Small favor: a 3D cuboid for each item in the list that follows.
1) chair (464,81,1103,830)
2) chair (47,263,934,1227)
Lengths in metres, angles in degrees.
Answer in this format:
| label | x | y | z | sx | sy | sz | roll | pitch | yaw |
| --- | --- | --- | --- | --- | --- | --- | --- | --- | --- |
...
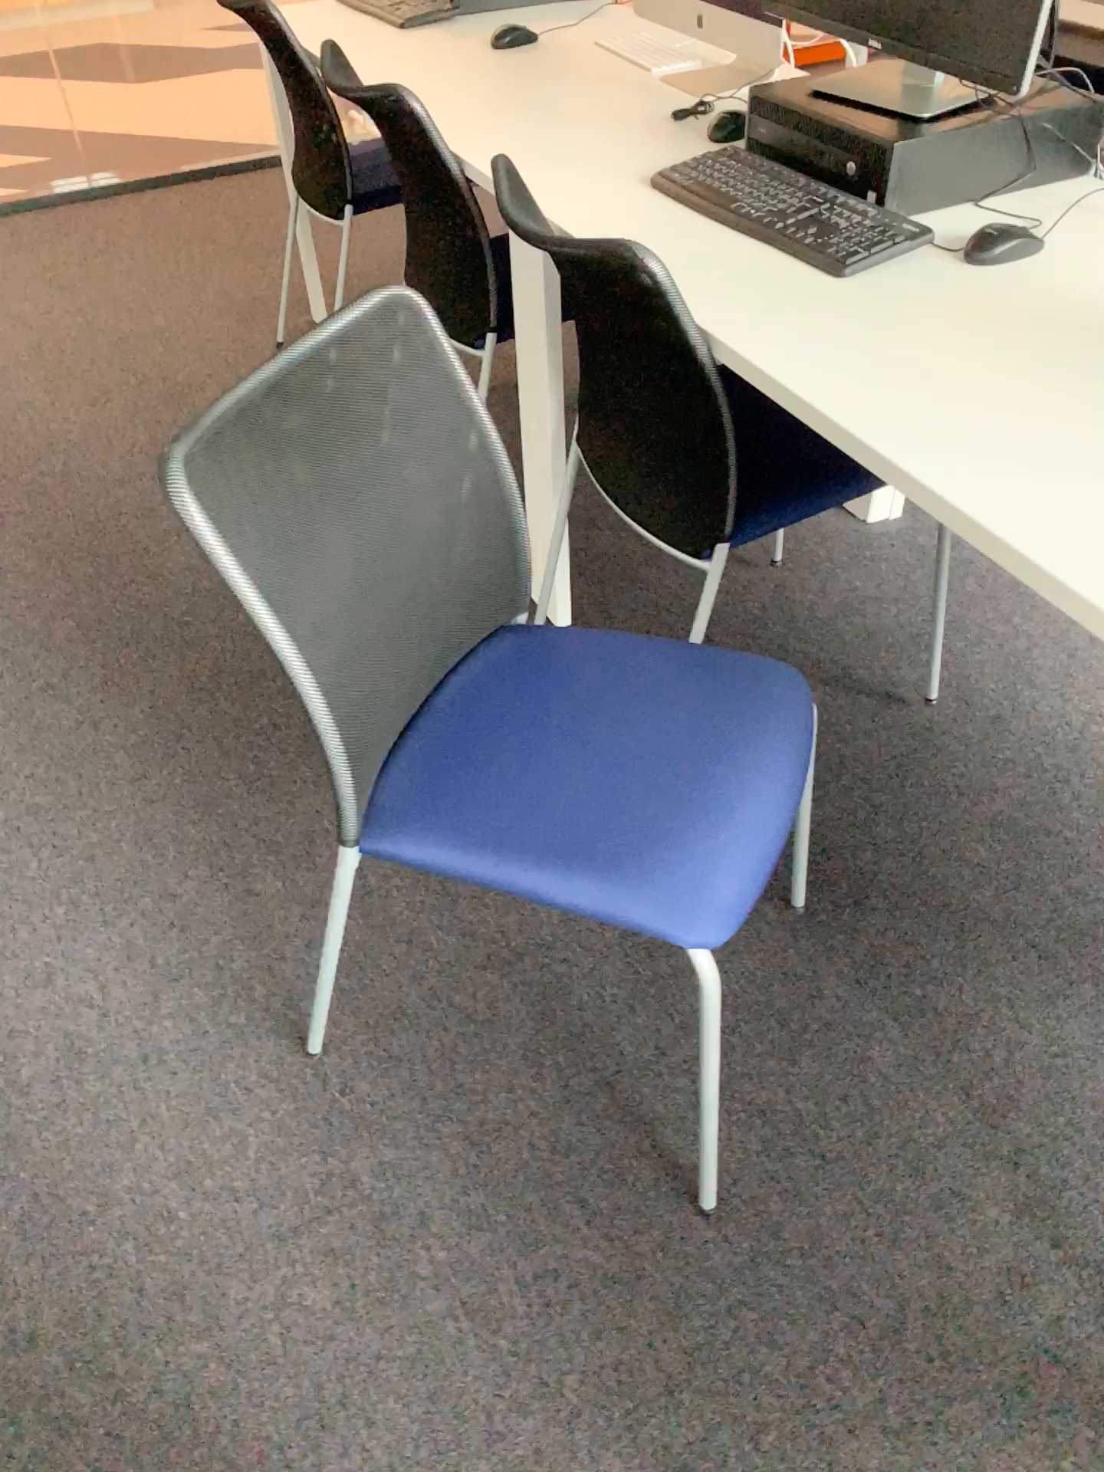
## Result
| label | x | y | z | sx | sy | sz | roll | pitch | yaw |
| --- | --- | --- | --- | --- | --- | --- | --- | --- | --- |
| chair | 0.309 | -0.444 | 1.783 | 0.651 | 0.866 | 0.572 | -19 | 45 | -17 |
| chair | -0.005 | 0.006 | 1.313 | 0.630 | 0.826 | 0.573 | 15 | 46 | 19 |
